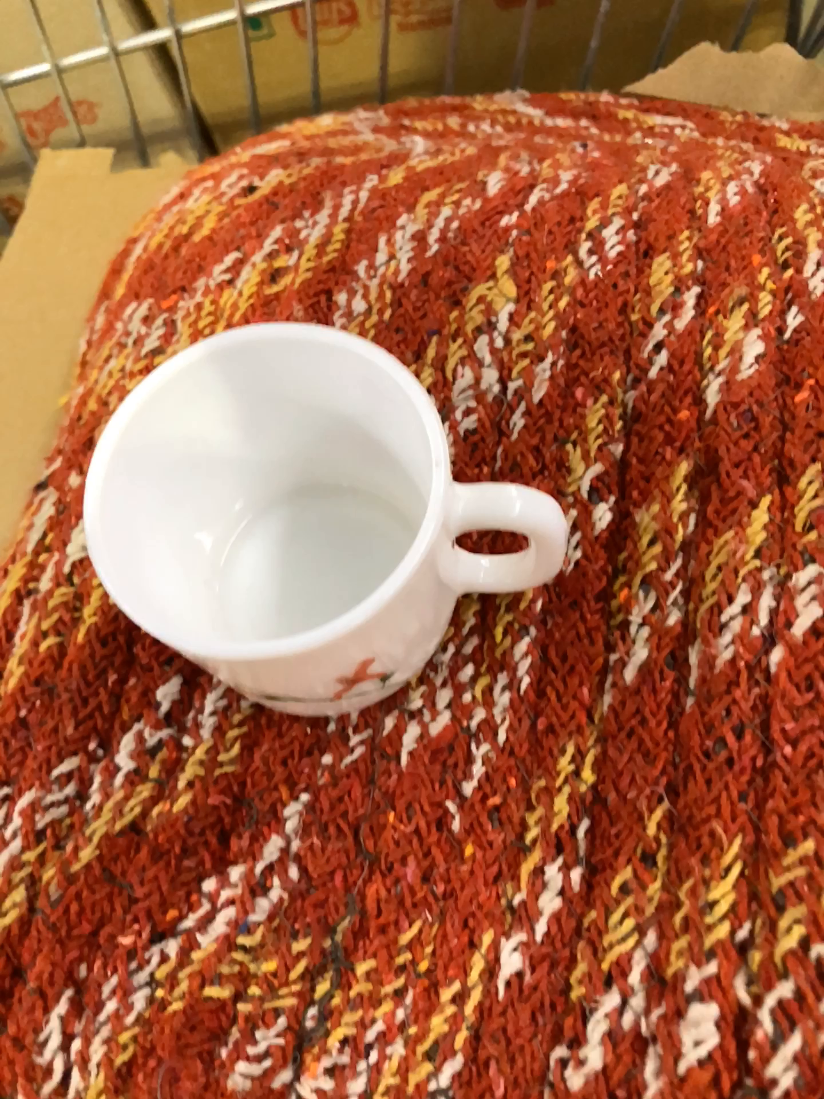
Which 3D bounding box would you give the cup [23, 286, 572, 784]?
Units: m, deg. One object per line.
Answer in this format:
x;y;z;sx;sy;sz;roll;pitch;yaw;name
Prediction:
-0.011;0.000;0.173;0.080;0.060;0.070;1;64;9;cup
